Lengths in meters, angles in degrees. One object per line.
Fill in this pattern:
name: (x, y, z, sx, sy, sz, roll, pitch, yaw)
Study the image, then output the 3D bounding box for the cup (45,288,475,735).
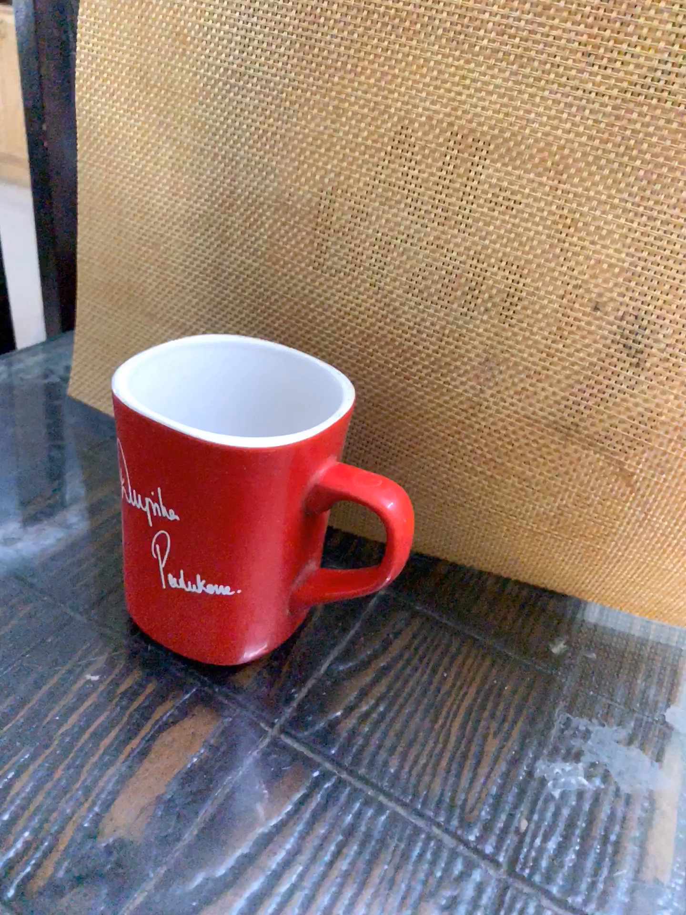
cup: (-0.025, 0.010, 0.219, 0.096, 0.085, 0.070, 20, 32, 18)
